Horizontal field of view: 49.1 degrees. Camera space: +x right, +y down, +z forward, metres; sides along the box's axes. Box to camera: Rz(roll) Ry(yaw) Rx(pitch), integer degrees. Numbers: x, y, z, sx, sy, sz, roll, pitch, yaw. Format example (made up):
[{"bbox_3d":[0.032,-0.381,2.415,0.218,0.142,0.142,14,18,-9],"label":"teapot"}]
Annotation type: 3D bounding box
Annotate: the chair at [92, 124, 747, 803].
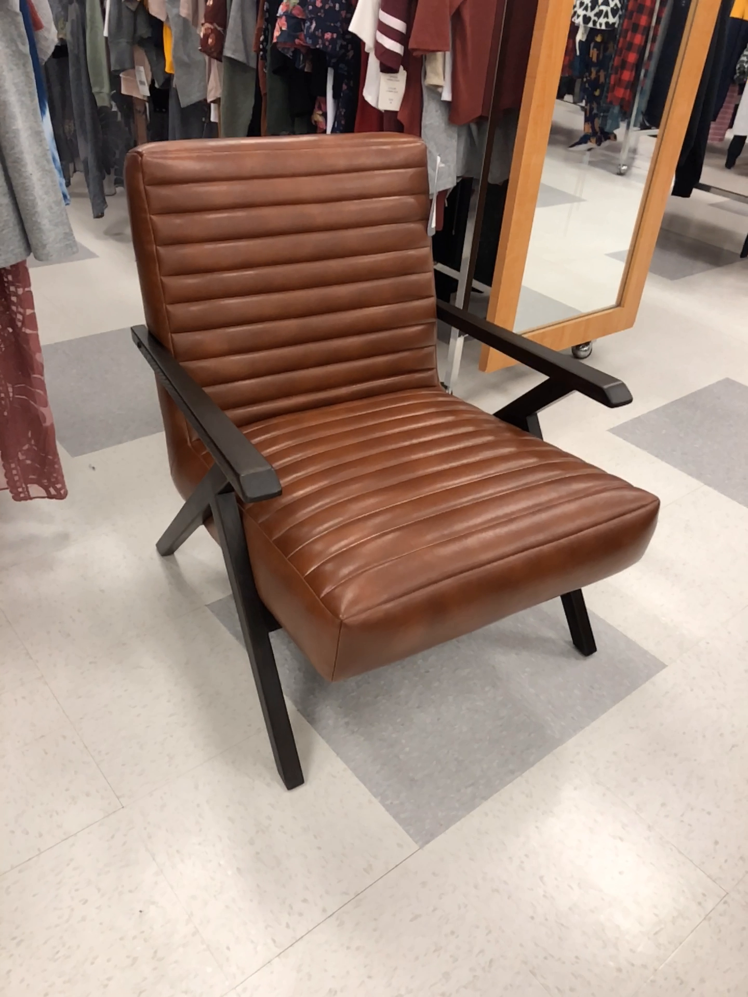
[{"bbox_3d":[0.014,-0.131,1.355,0.677,0.755,0.679,-16,40,-27],"label":"chair"}]
